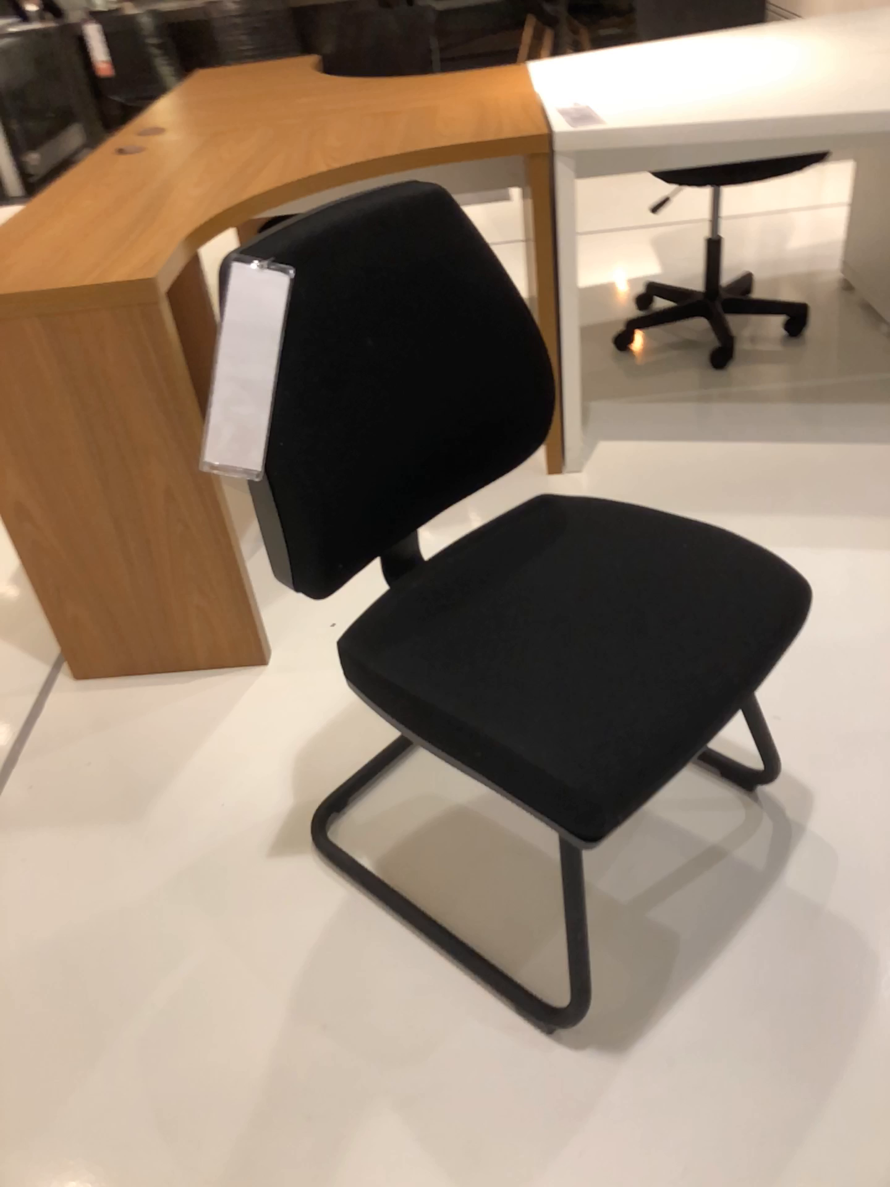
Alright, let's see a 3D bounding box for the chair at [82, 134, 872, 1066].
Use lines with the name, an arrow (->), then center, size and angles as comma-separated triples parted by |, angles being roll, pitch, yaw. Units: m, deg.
chair -> 0.076, -0.022, 1.215 | 0.562, 0.873, 0.552 | 24, 47, 36
